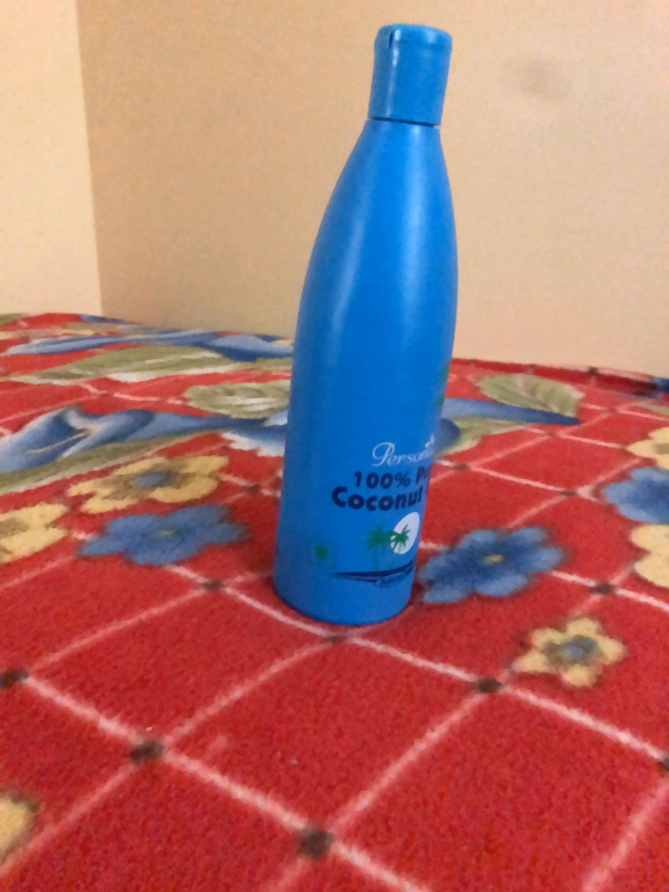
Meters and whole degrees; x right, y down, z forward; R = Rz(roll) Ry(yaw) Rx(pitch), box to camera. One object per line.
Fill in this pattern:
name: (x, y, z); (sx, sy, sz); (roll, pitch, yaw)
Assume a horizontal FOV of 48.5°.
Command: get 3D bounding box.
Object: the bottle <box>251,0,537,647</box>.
bottle: (0.017, -0.045, 0.303); (0.070, 0.229, 0.070); (3, 19, -1)
